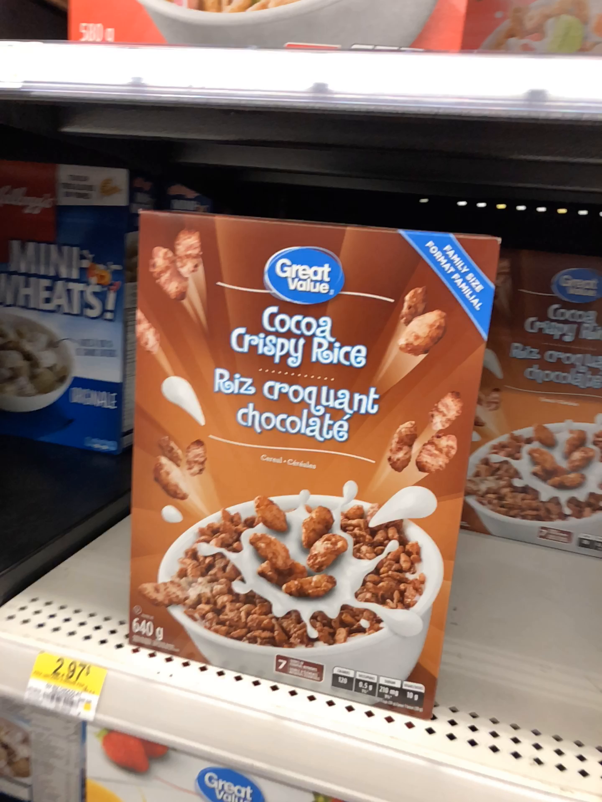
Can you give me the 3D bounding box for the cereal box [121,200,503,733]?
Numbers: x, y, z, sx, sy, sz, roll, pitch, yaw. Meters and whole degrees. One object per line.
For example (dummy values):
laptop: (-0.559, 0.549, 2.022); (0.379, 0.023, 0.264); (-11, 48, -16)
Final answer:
cereal box: (0.001, 0.034, 0.433); (0.210, 0.299, 0.080); (8, 13, 14)
